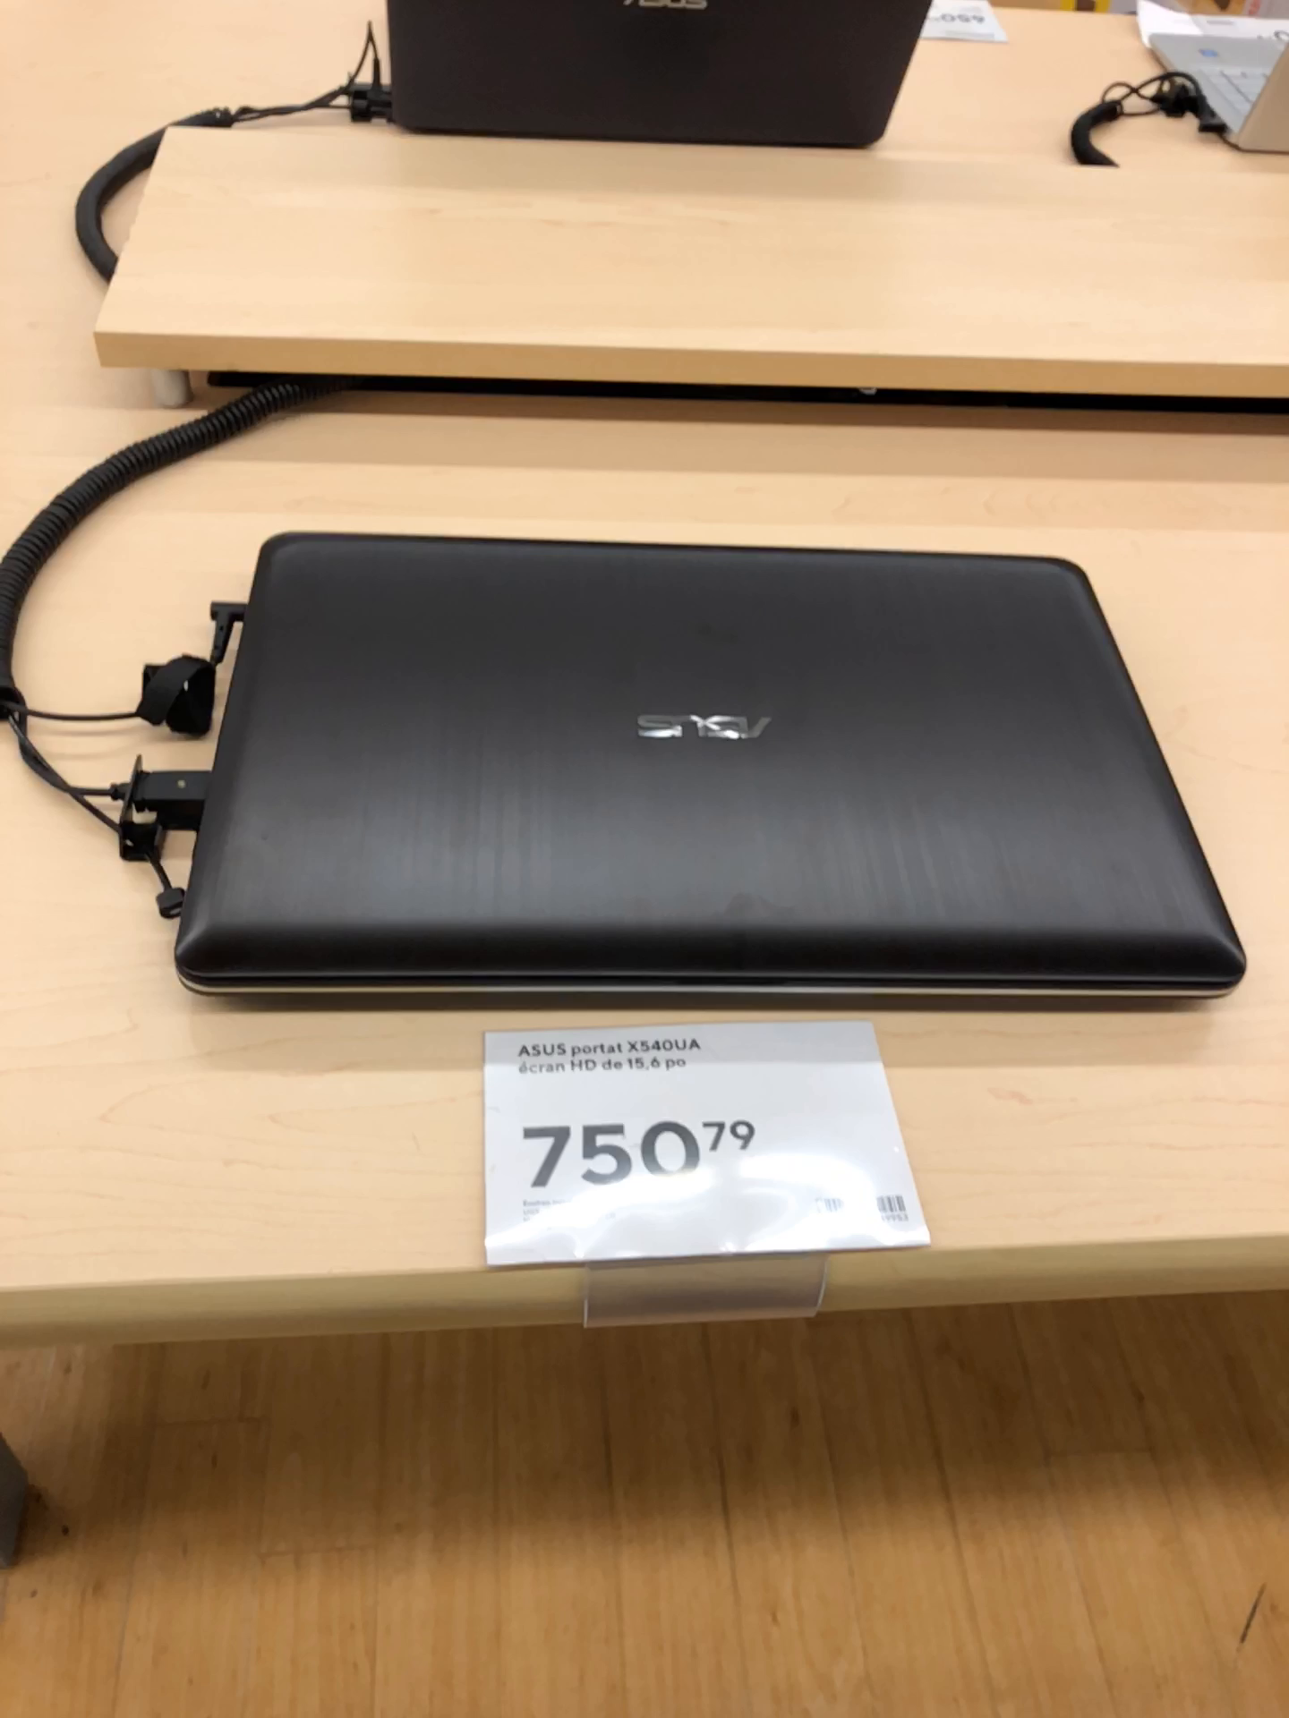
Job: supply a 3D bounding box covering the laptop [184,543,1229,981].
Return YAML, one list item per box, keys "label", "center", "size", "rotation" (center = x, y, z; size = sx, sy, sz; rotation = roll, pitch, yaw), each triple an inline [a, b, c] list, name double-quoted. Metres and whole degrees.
- label: "laptop"
  center: [0.023, -0.047, 0.577]
  size: [0.369, 0.010, 0.228]
  rotation: [1, 50, -5]
